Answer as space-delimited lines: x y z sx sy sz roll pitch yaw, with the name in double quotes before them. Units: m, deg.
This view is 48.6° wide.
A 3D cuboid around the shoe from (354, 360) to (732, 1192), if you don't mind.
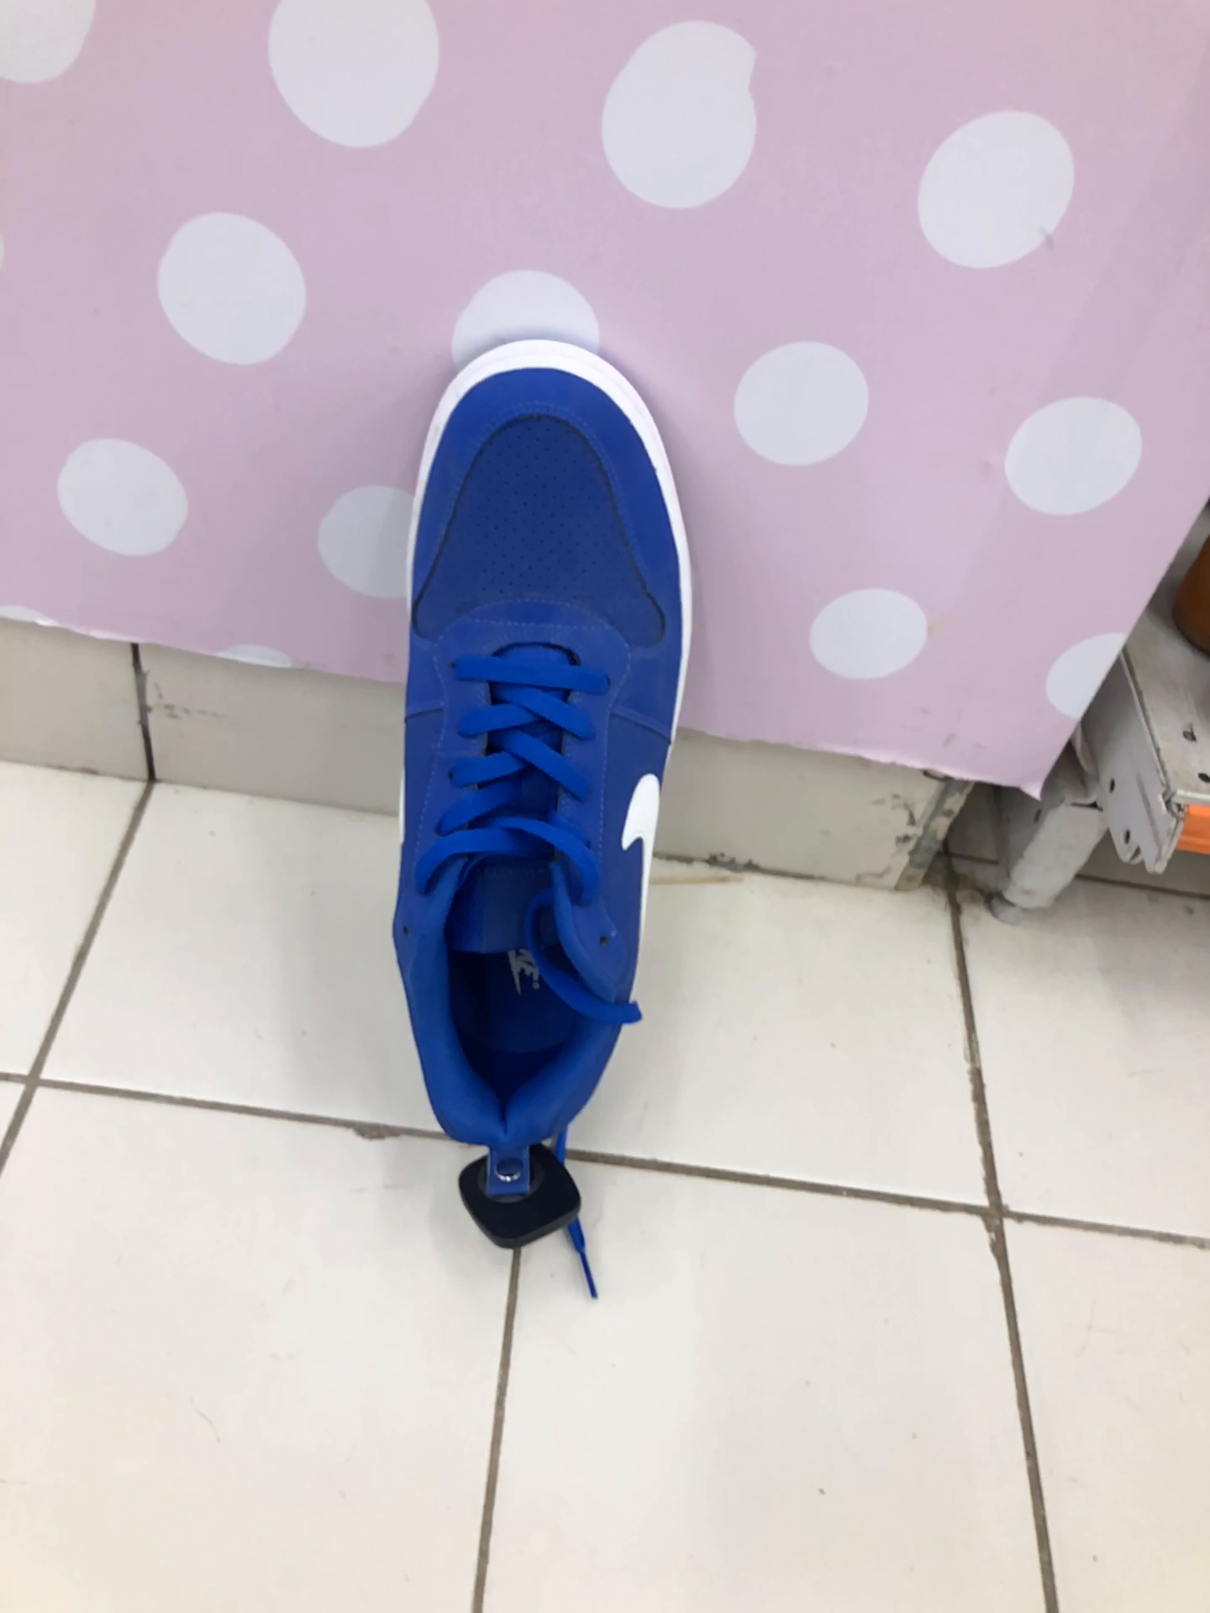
"shoe" -0.028 -0.007 0.495 0.110 0.289 0.080 4 20 -3
